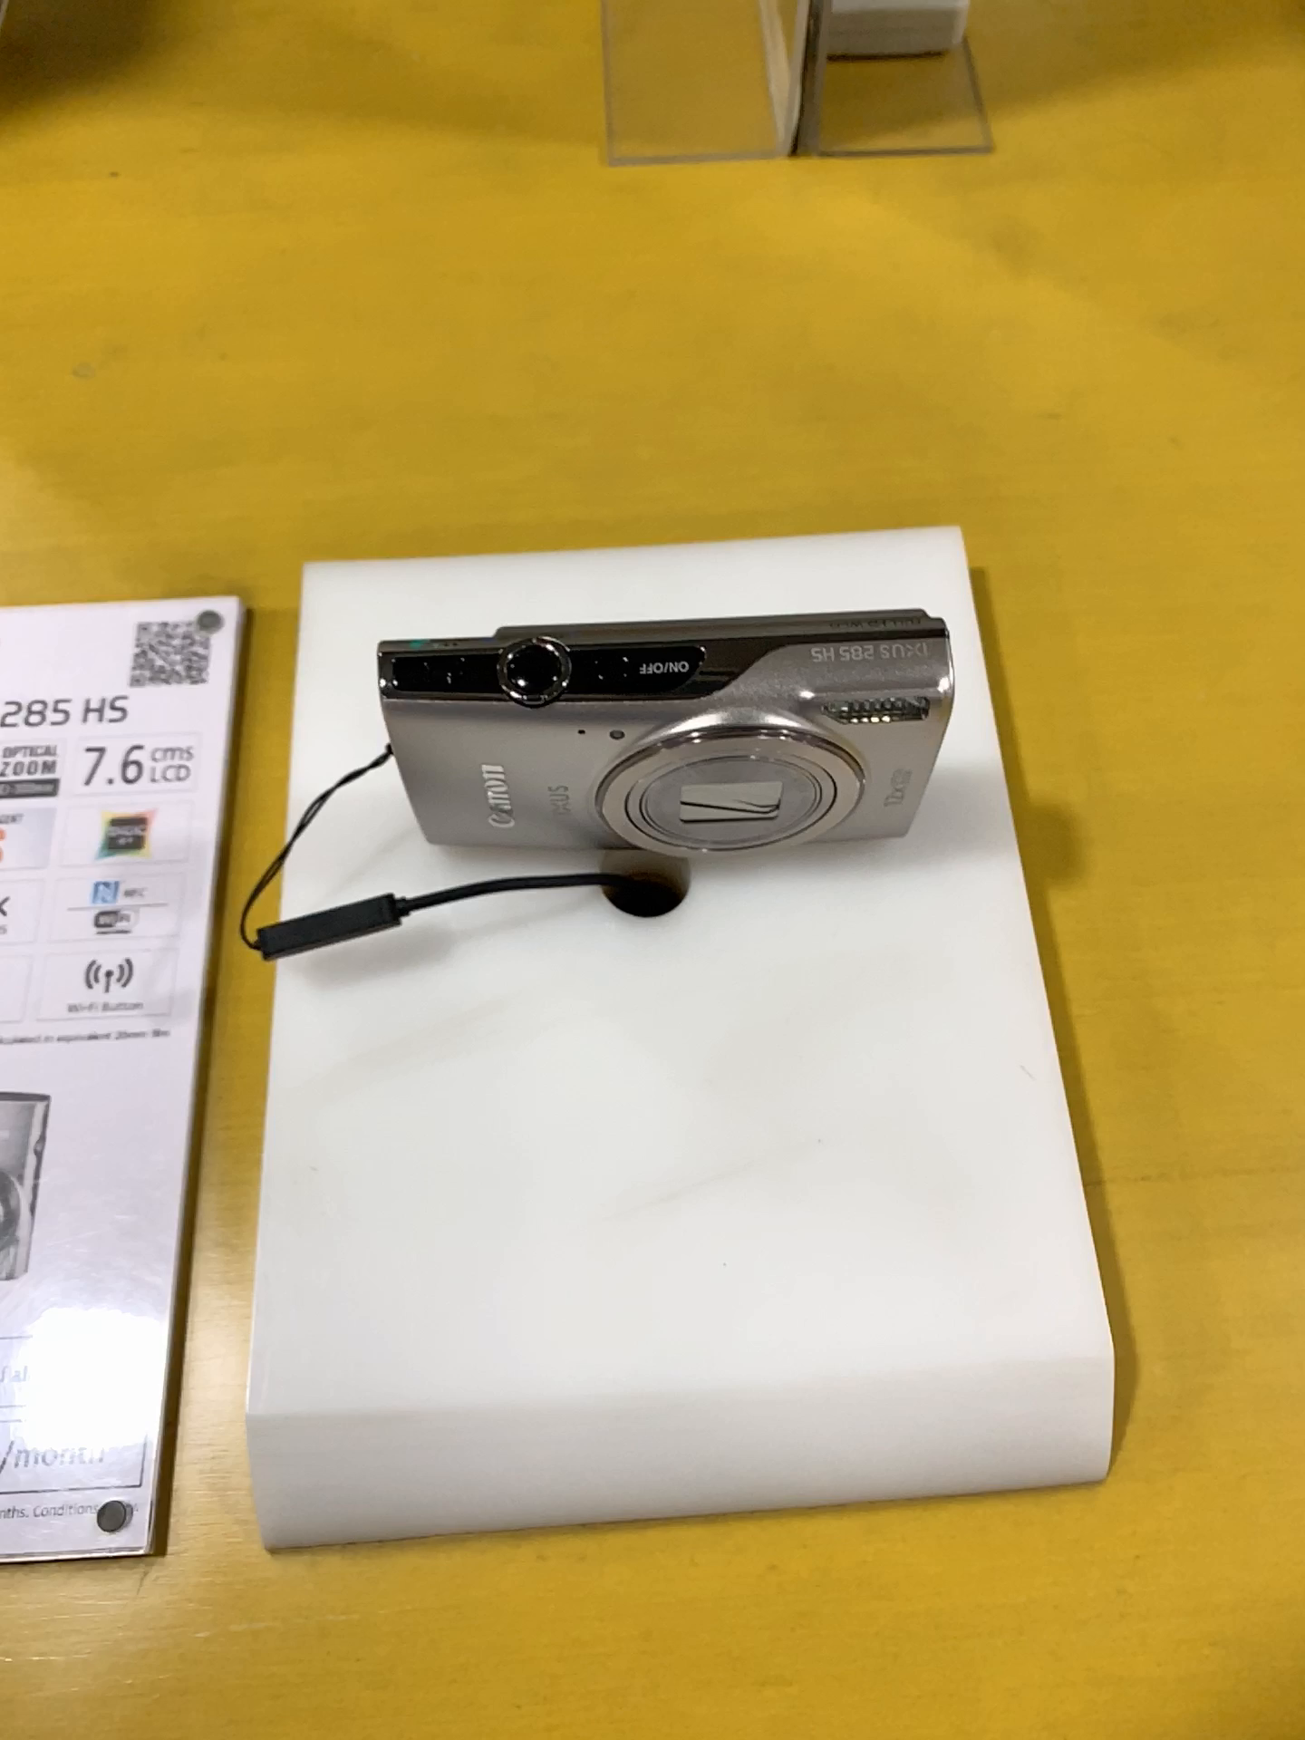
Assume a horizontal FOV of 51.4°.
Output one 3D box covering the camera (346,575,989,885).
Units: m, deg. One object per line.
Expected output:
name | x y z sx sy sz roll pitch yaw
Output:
camera | 0.002 -0.023 0.240 0.100 0.050 0.030 -2 65 0
